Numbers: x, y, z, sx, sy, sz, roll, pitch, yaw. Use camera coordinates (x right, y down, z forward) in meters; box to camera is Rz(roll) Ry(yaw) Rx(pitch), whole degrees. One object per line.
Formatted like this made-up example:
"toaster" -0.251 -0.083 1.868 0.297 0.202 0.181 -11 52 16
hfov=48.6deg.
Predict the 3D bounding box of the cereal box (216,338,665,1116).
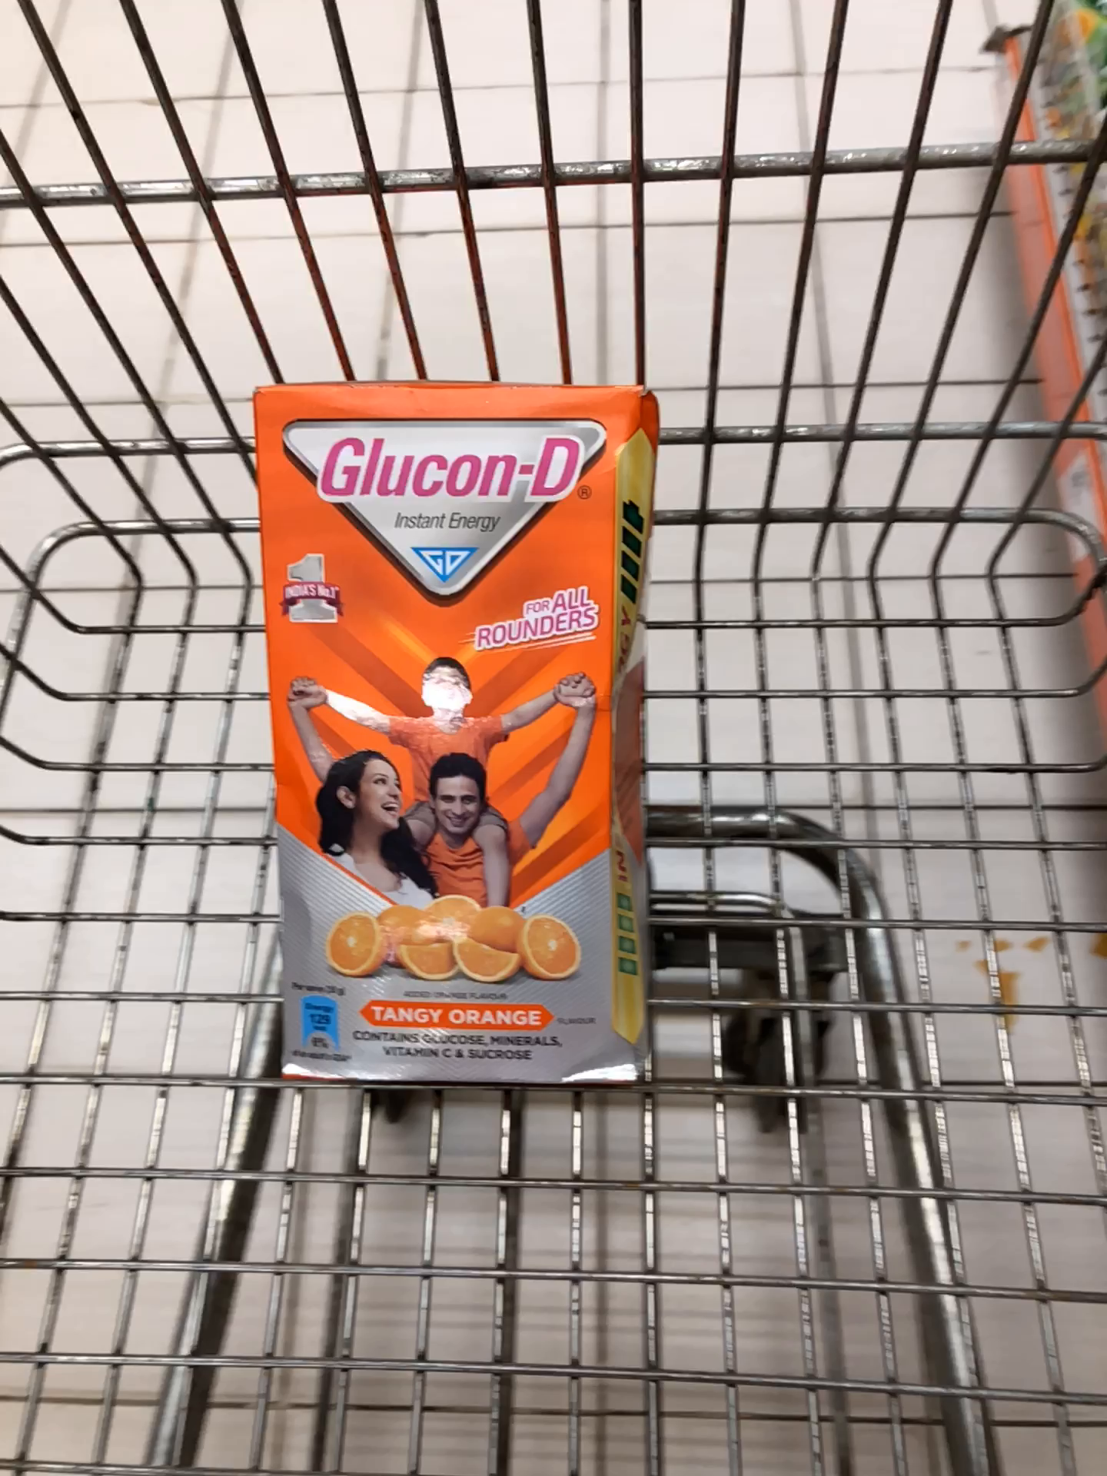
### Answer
"cereal box" -0.026 -0.005 0.384 0.120 0.100 0.210 0 96 5
